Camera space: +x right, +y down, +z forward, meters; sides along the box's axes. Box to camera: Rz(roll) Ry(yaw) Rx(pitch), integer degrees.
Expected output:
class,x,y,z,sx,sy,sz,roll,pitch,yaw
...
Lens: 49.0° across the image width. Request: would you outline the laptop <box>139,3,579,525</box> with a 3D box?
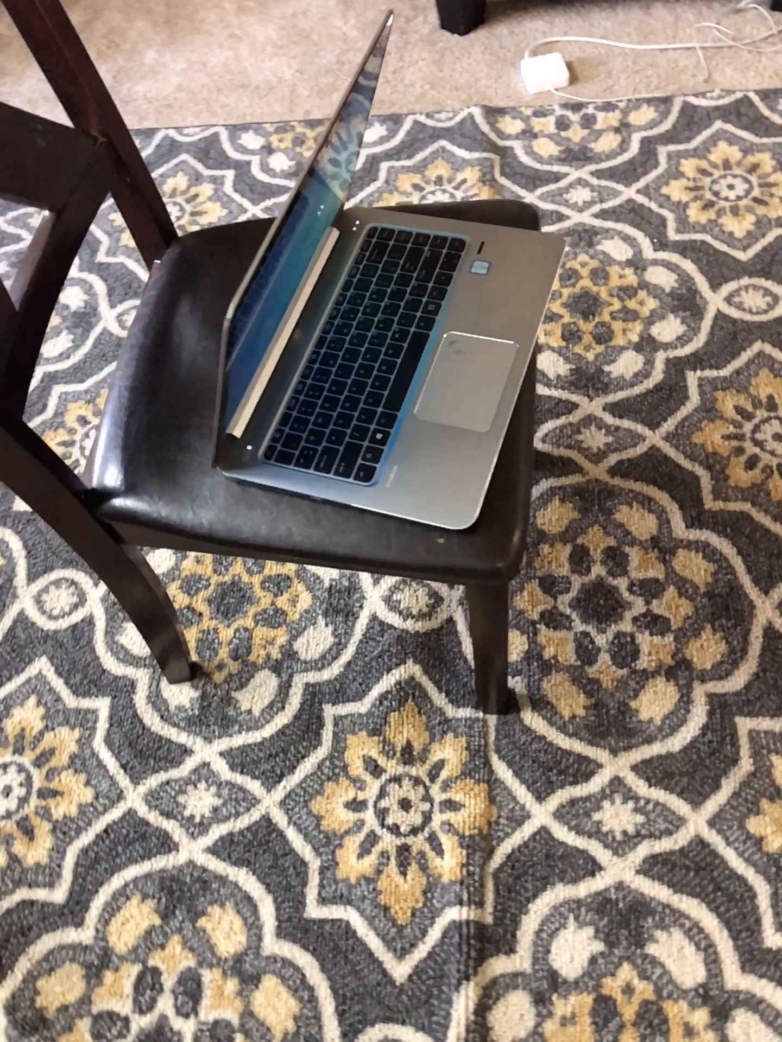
class,x,y,z,sx,sy,sz,roll,pitch,yaw
laptop,0.001,-0.207,0.671,0.212,0.194,0.323,13,62,15
